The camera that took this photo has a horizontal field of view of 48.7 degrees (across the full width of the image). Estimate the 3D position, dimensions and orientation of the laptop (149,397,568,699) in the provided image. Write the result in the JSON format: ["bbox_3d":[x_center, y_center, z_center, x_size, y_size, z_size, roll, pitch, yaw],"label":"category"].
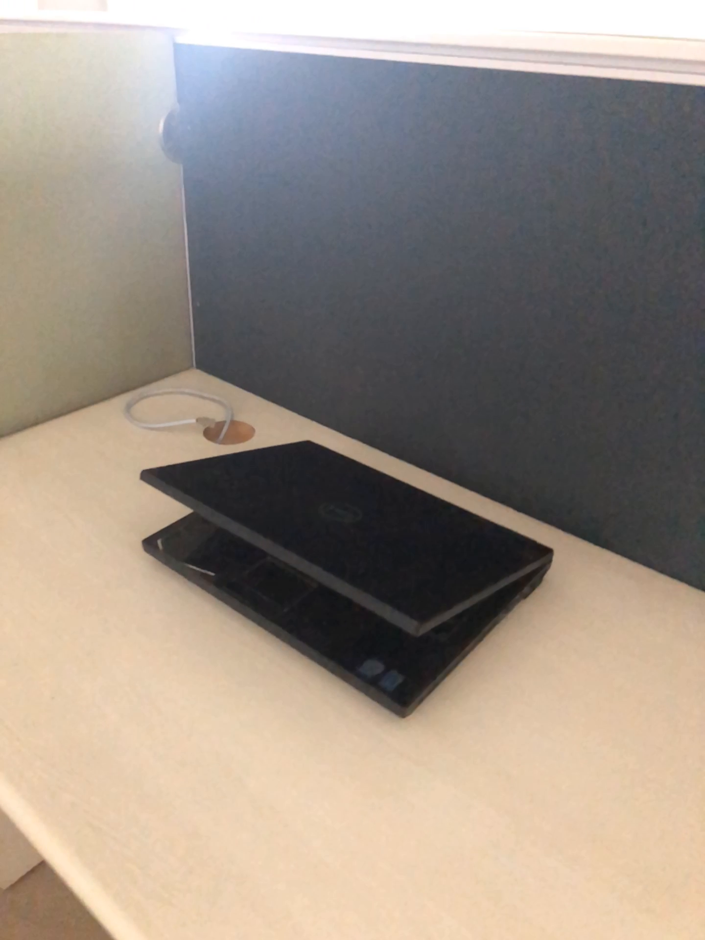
[{"bbox_3d":[0.003,0.045,0.724,0.303,0.064,0.230,24,39,32],"label":"laptop"}]
